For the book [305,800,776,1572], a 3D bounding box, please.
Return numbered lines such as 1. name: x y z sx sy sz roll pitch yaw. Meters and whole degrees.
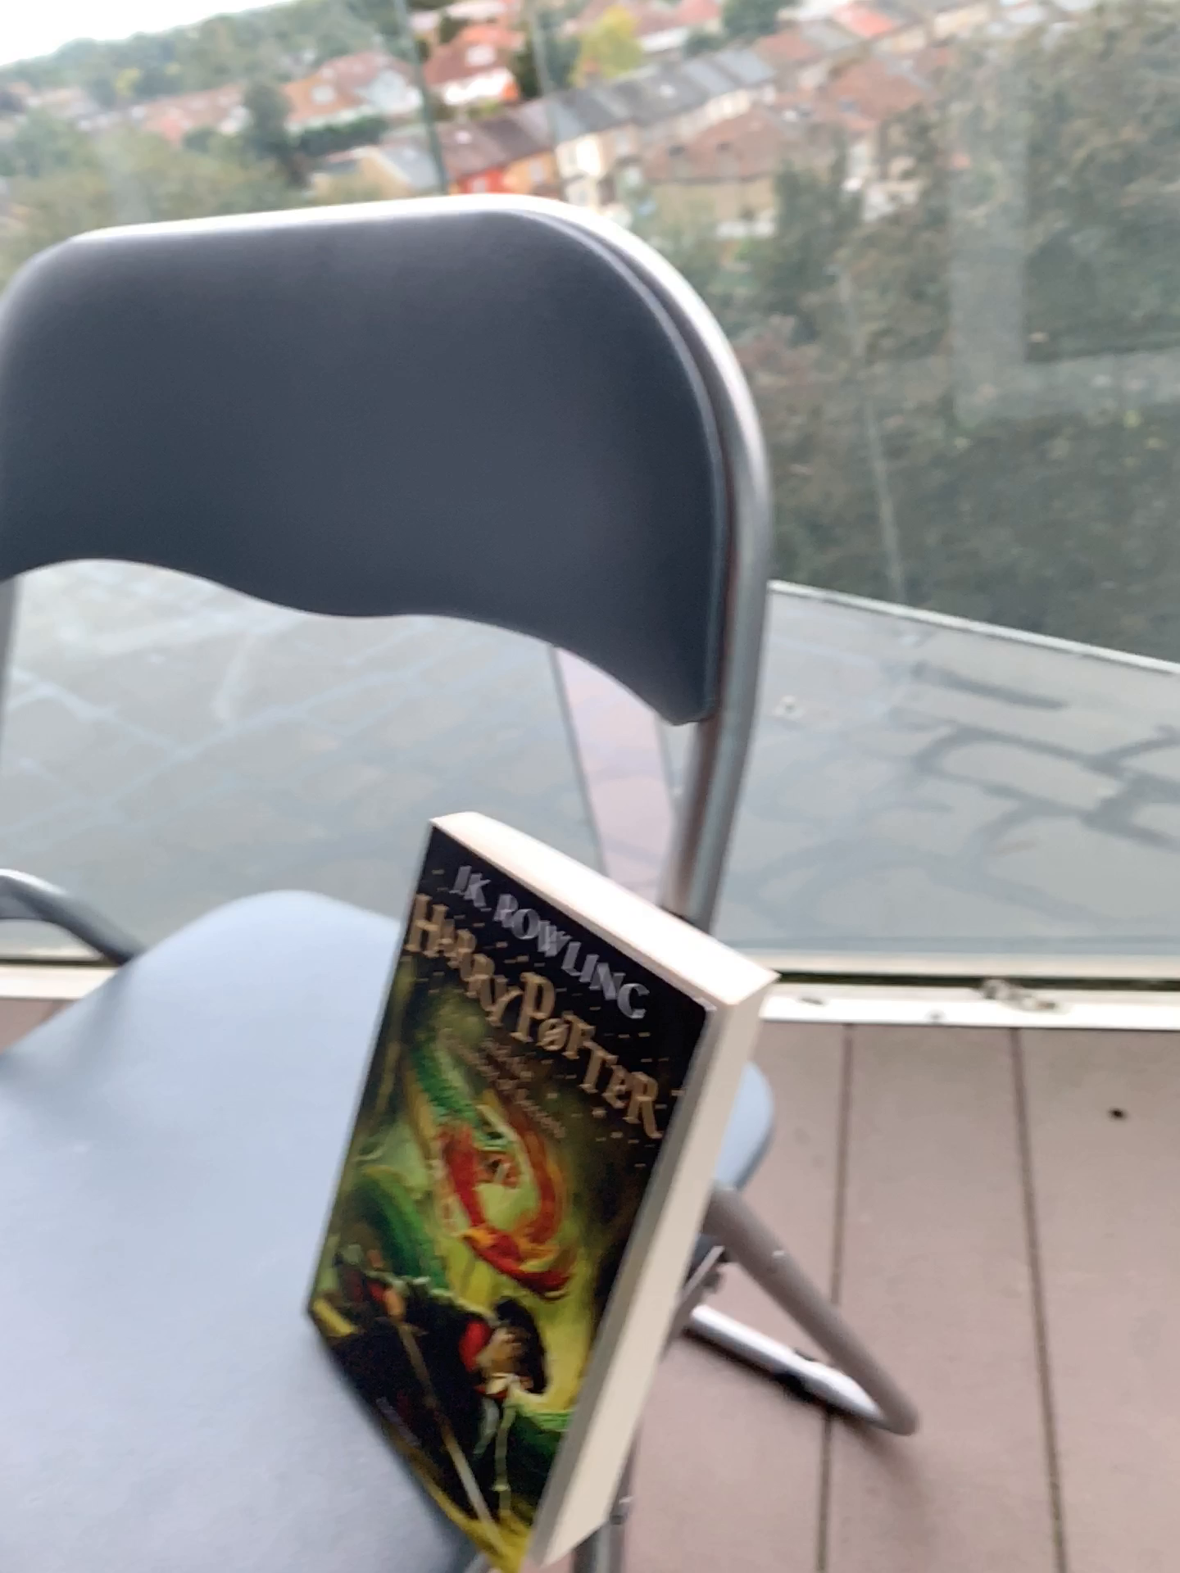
1. book: -0.028 0.123 0.402 0.040 0.199 0.141 -1 20 -42
